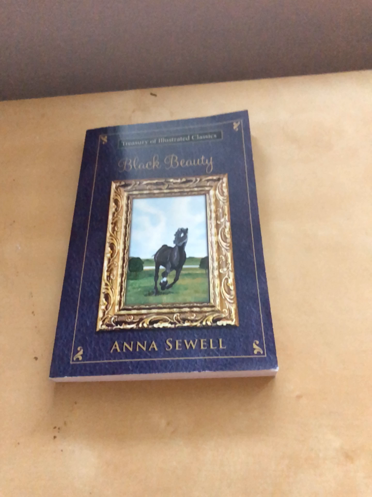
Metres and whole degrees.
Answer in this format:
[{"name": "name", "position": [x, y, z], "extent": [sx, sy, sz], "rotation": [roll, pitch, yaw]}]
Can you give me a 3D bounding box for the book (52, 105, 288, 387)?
[{"name": "book", "position": [-0.009, -0.012, 0.276], "extent": [0.126, 0.025, 0.193], "rotation": [-3, 61, 6]}]
